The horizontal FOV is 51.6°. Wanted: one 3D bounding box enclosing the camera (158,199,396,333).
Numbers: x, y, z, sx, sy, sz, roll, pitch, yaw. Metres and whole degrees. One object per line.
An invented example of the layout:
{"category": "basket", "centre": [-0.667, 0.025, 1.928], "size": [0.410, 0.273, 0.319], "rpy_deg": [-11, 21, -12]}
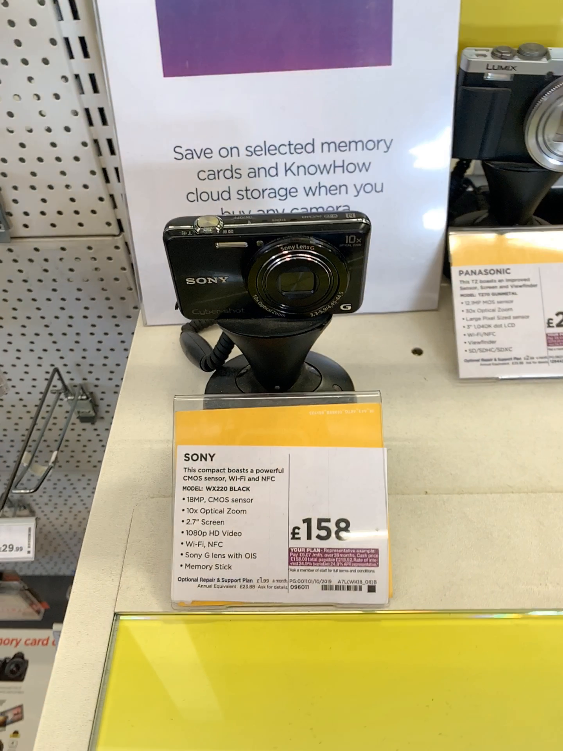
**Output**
{"category": "camera", "centre": [-0.002, -0.050, 0.273], "size": [0.100, 0.050, 0.030], "rpy_deg": [-2, 49, 1]}
